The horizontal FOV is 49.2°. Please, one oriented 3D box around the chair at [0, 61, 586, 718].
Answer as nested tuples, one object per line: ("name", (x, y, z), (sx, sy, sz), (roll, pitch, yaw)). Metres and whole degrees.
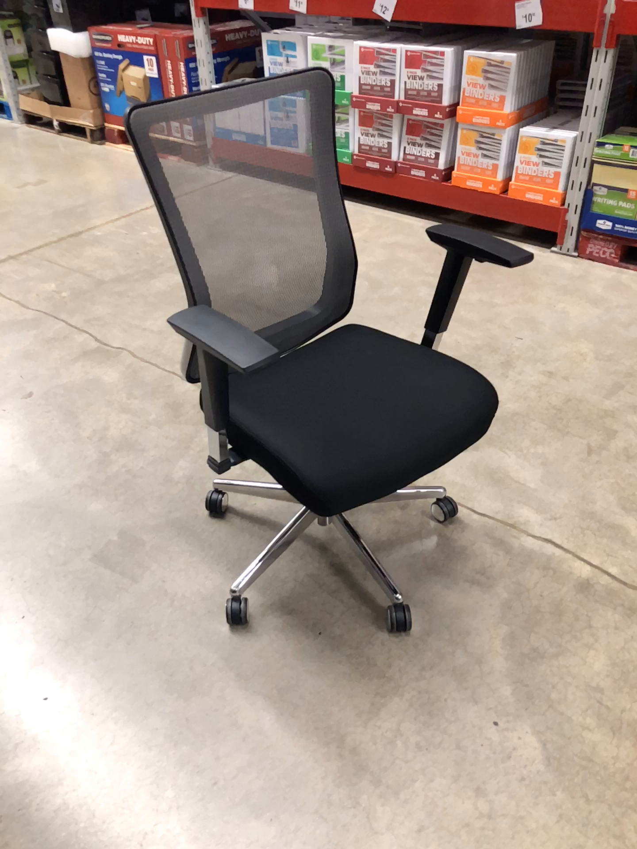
("chair", (-0.029, -0.126, 1.451), (0.711, 0.987, 0.691), (27, 45, 34))
